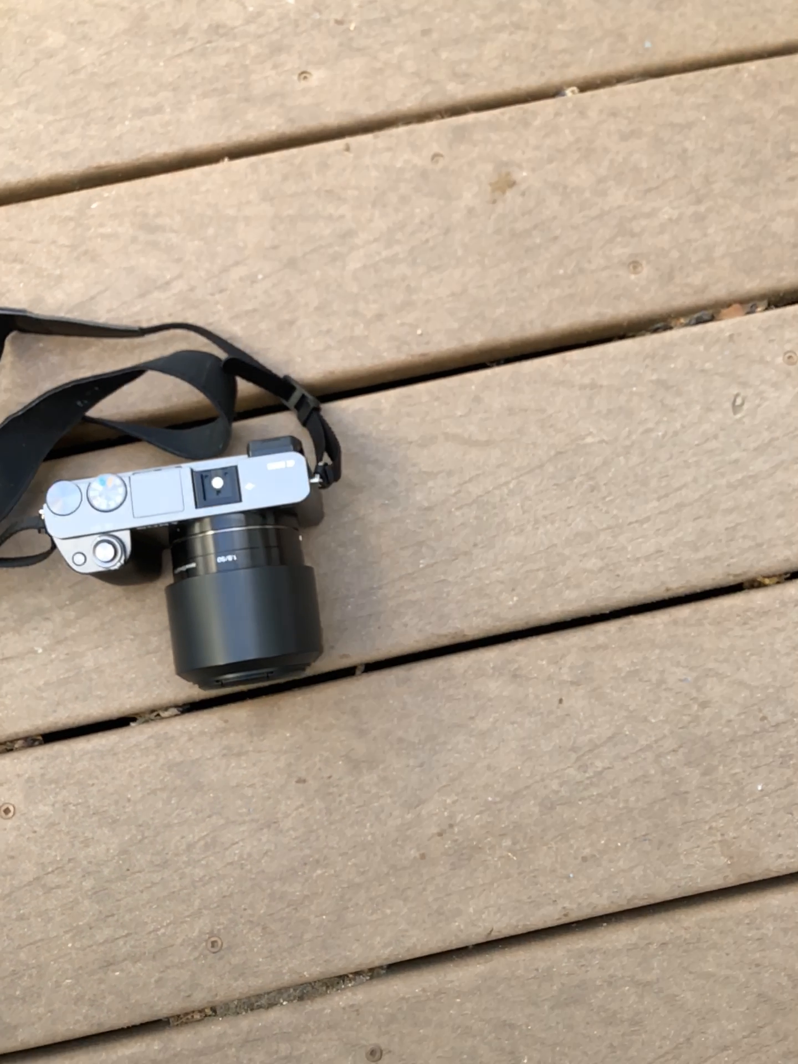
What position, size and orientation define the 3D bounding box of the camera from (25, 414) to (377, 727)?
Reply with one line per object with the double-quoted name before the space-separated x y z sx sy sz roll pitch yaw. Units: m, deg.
"camera" -0.084 0.020 0.399 0.130 0.070 0.110 -9 80 -2
